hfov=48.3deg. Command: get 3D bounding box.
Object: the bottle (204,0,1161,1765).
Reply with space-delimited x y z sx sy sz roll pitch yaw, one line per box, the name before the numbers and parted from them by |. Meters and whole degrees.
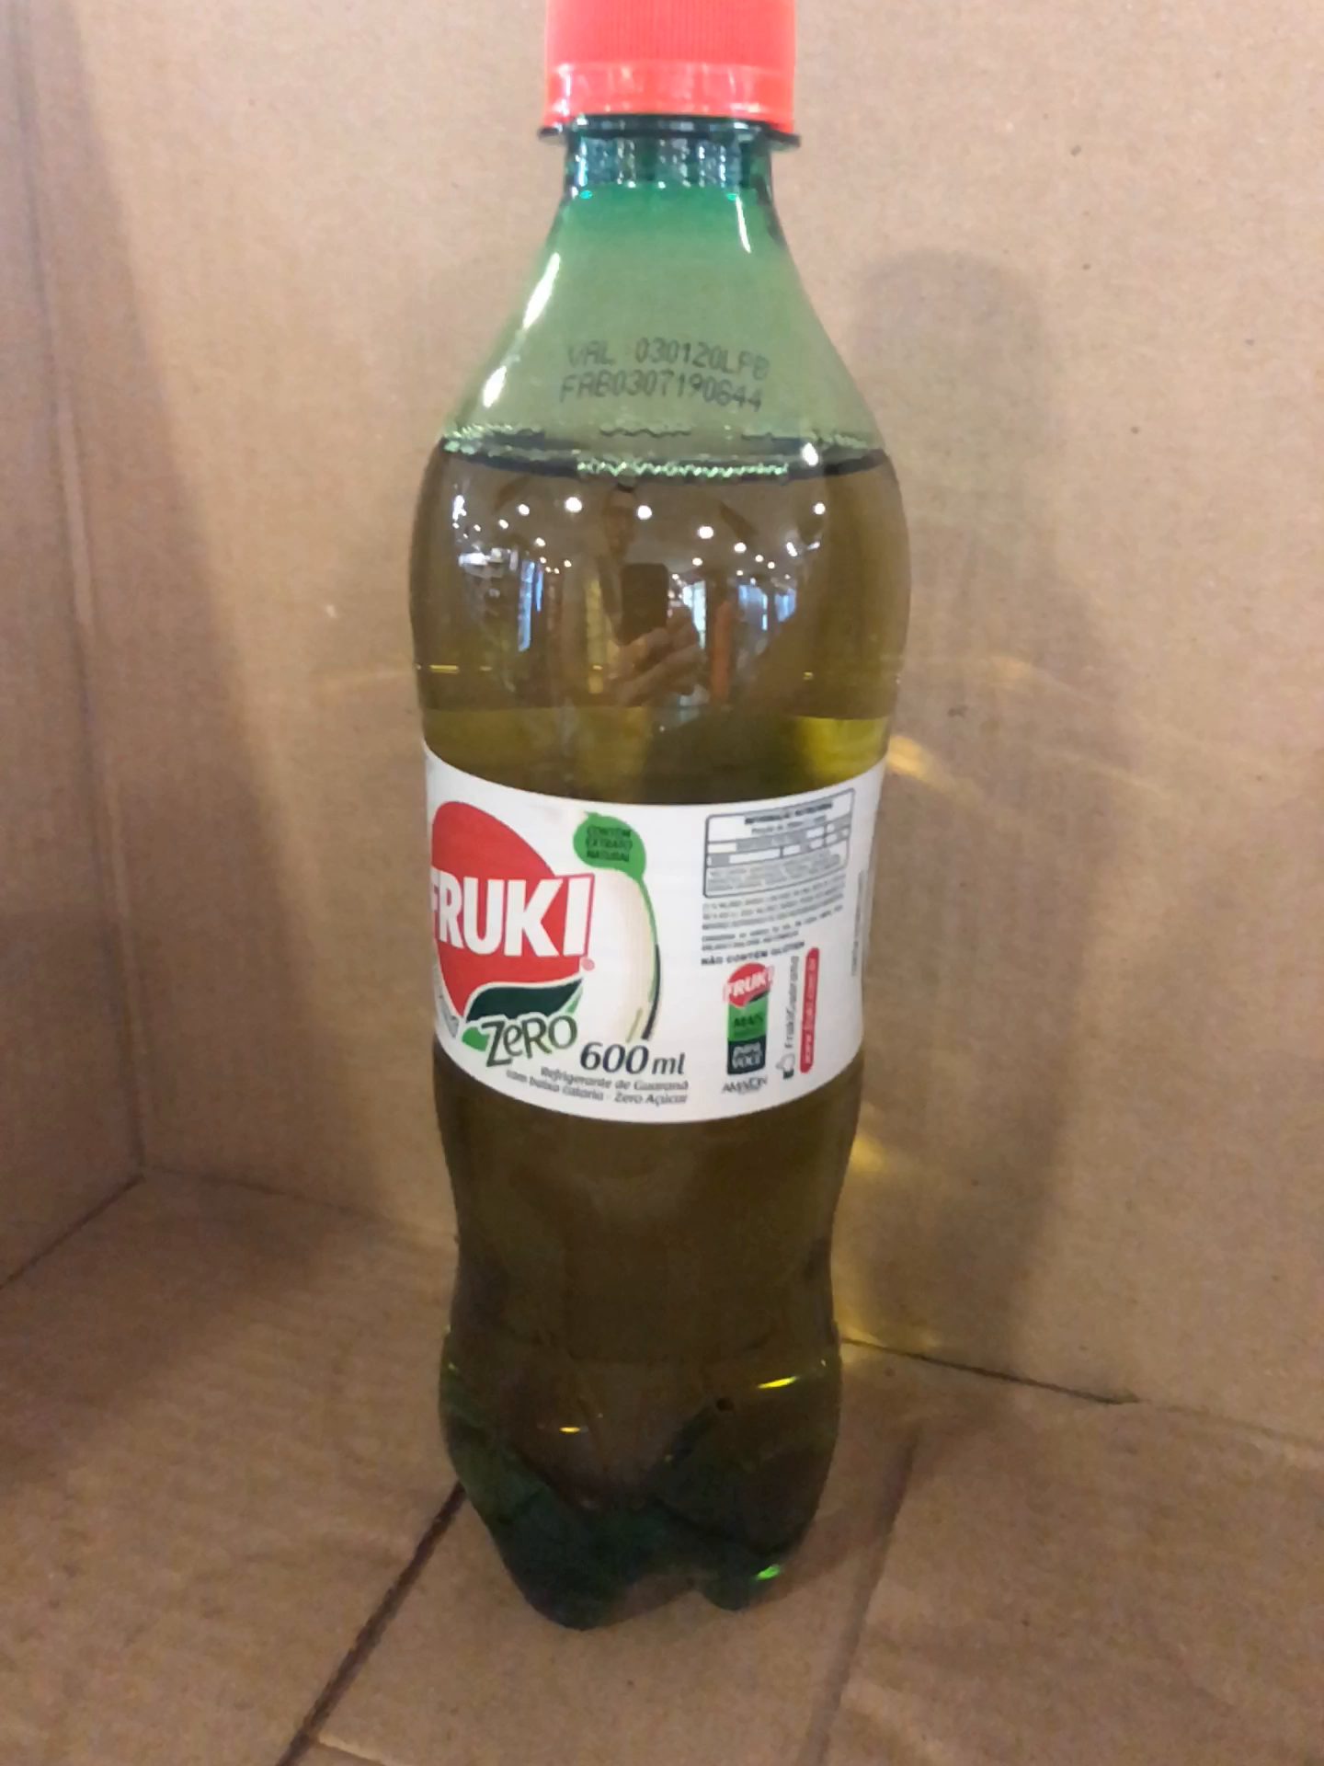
bottle | 0.003 -0.002 0.213 0.080 0.238 0.080 1 21 0
